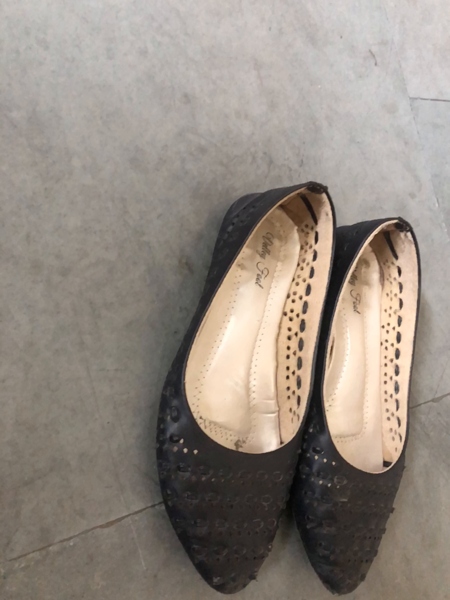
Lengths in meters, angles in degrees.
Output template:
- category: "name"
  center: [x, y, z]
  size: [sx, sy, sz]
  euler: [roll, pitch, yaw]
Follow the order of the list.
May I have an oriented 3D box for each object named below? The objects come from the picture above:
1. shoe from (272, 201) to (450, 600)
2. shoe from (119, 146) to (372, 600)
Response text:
- category: "shoe"
  center: [0.102, 0.070, 0.339]
  size: [0.096, 0.073, 0.242]
  euler: [15, 72, -27]
- category: "shoe"
  center: [0.019, 0.048, 0.289]
  size: [0.096, 0.062, 0.242]
  euler: [18, 71, -26]
